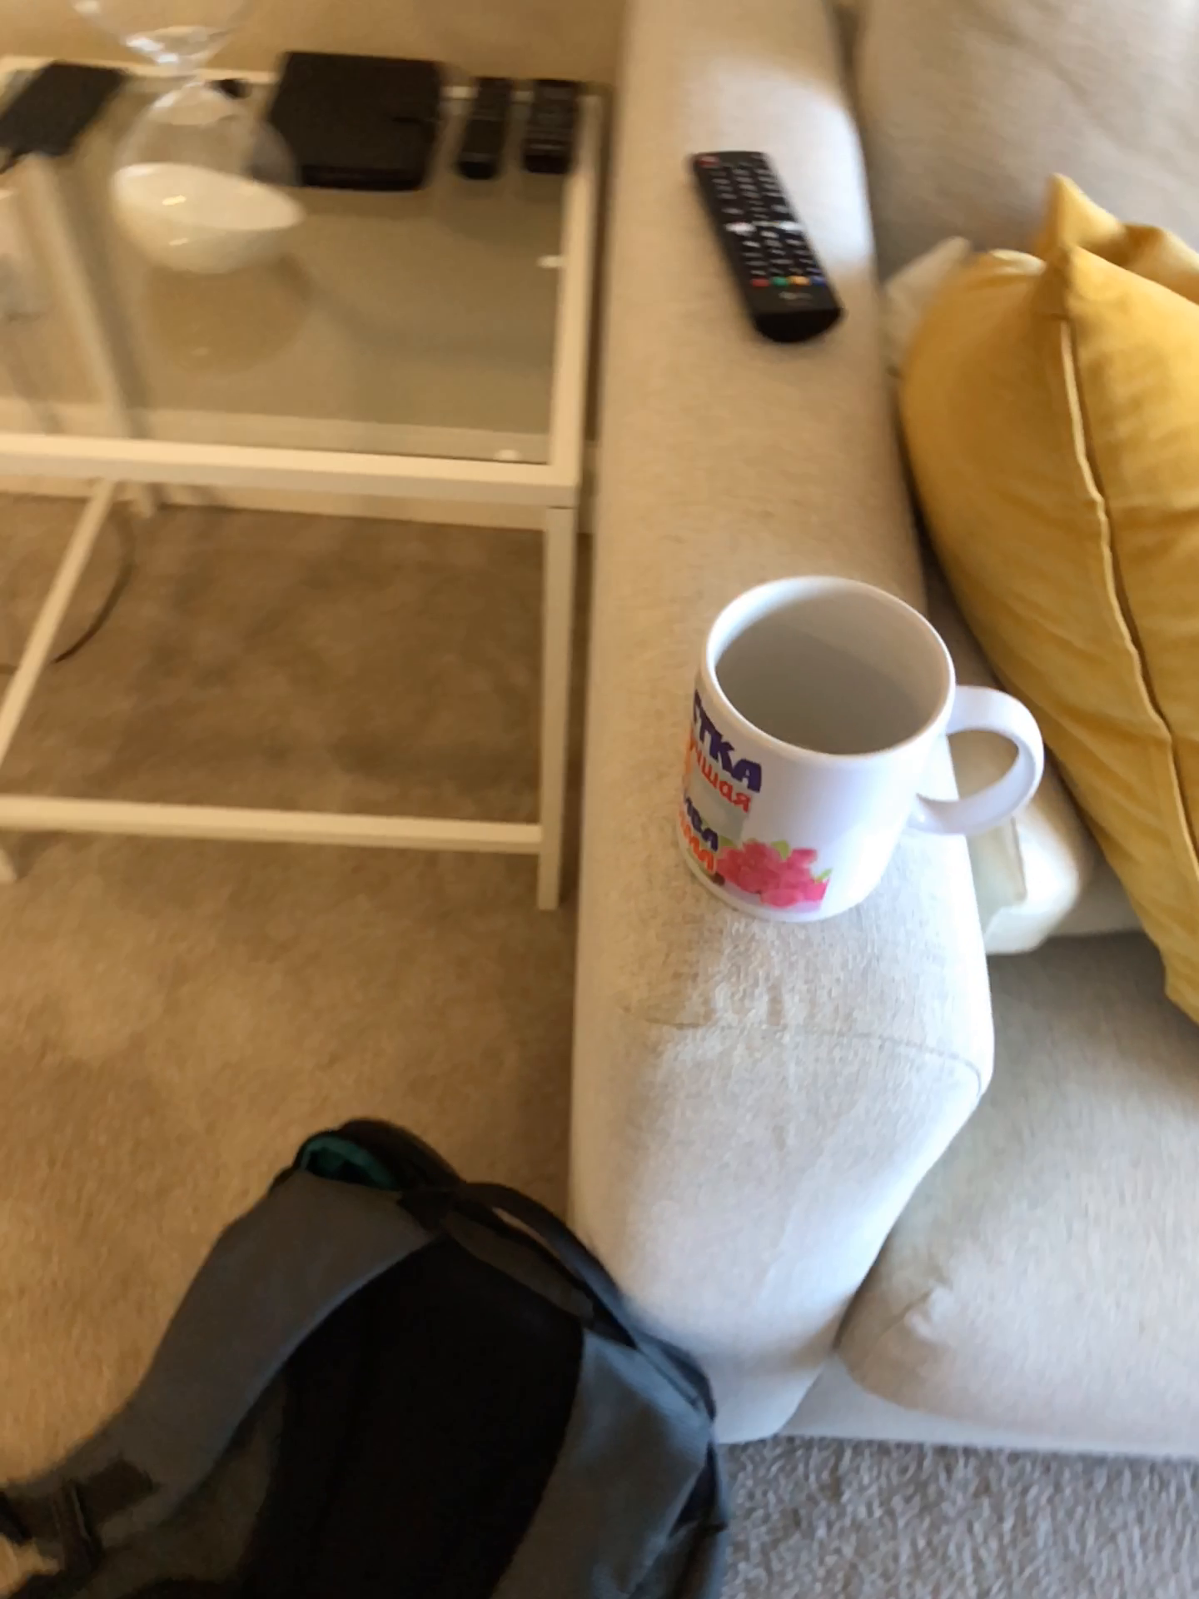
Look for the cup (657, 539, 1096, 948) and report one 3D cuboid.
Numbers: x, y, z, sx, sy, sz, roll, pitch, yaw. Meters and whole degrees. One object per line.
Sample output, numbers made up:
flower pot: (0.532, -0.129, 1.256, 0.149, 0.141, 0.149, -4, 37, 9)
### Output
cup: (0.087, -0.017, 0.454, 0.120, 0.100, 0.080, 7, 52, 2)
